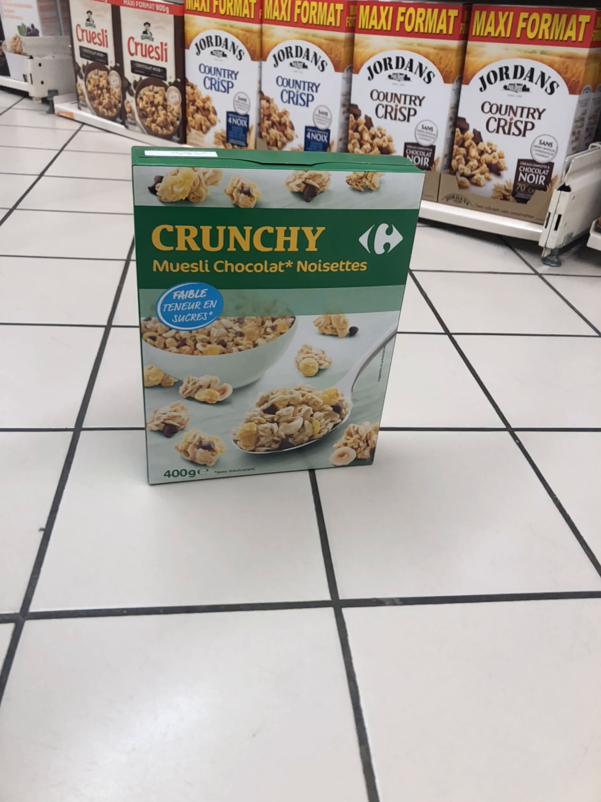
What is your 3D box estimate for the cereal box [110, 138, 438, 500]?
[{"bbox_3d":[-0.027,-0.051,0.485,0.200,0.248,0.060,-3,33,-14],"label":"cereal box"}]
